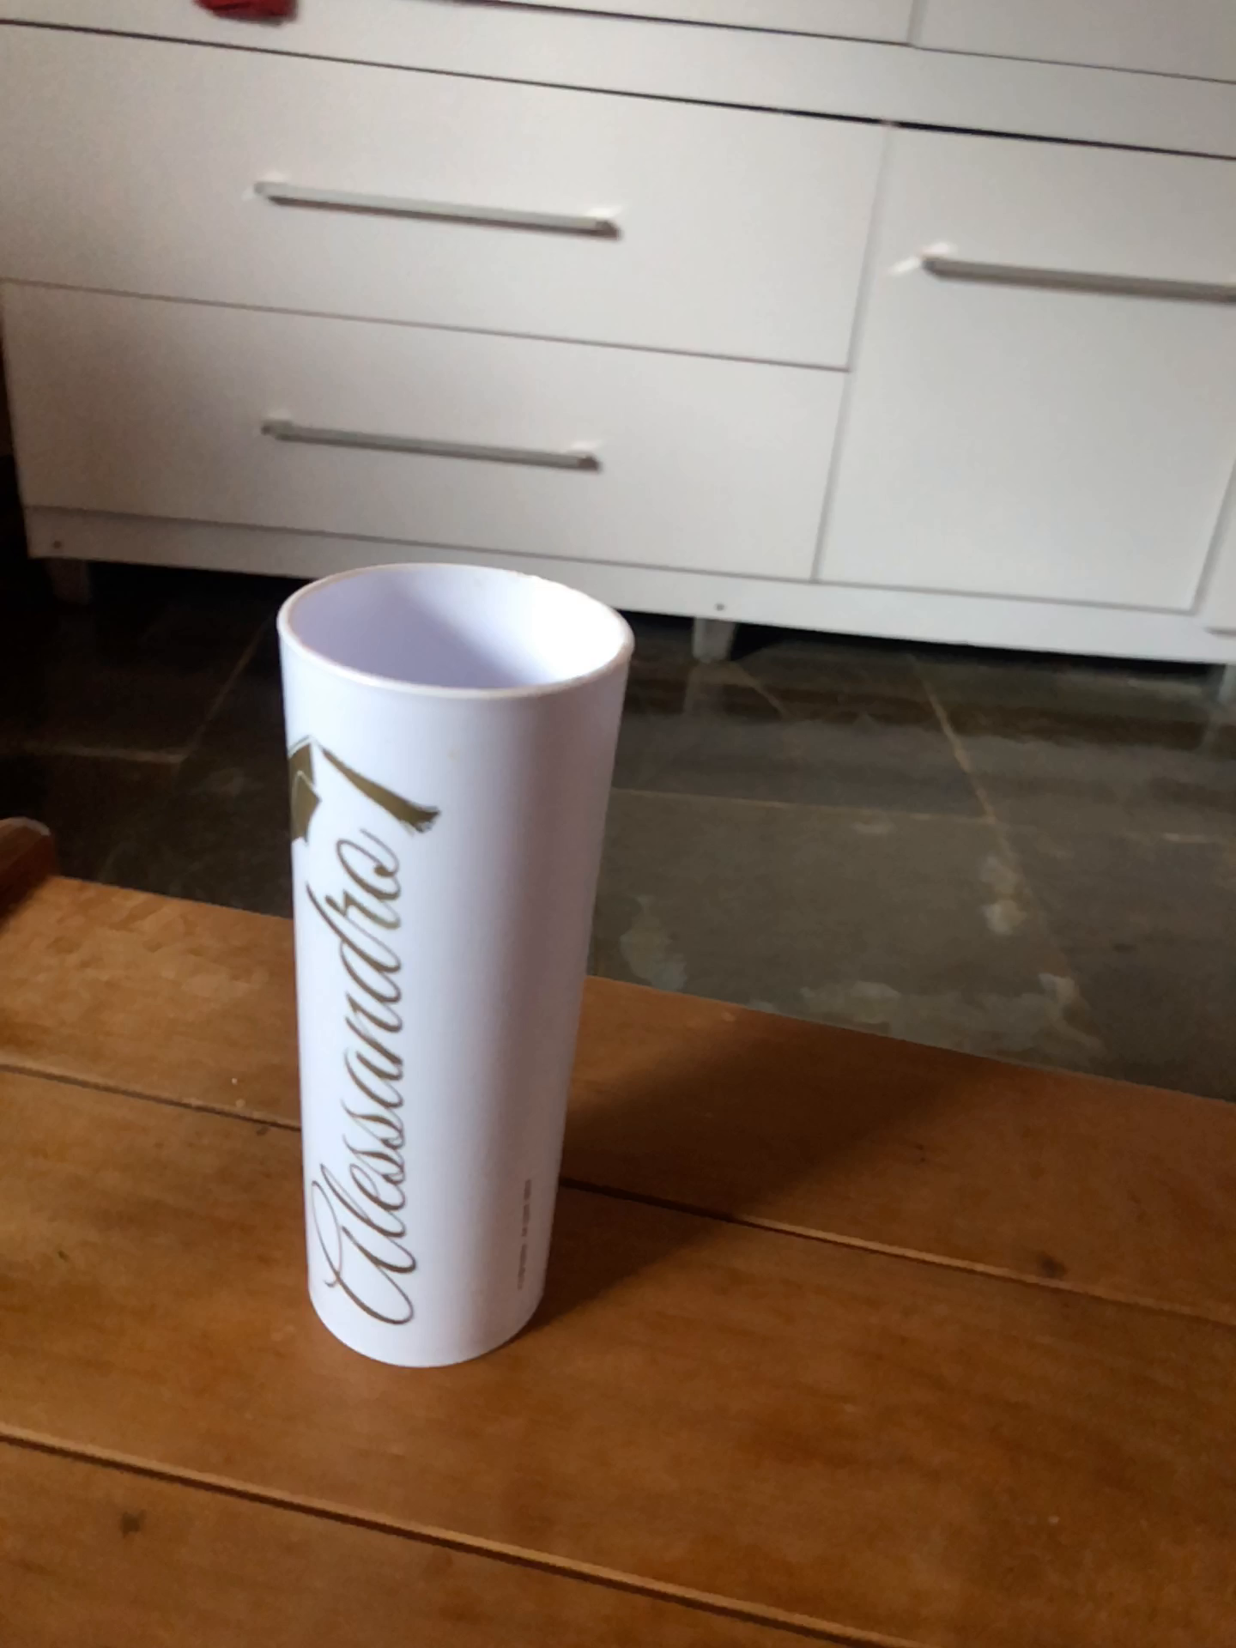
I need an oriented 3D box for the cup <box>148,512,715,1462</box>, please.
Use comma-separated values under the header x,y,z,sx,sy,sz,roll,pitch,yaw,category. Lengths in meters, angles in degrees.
x,y,z,sx,sy,sz,roll,pitch,yaw,category
-0.035,0.032,0.269,0.070,0.159,0.071,5,29,-2,cup
